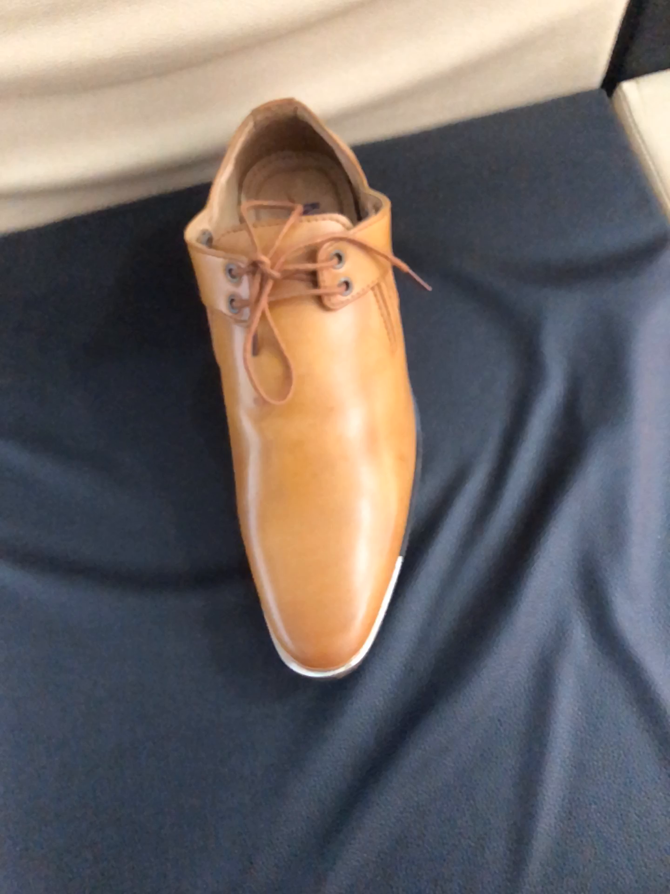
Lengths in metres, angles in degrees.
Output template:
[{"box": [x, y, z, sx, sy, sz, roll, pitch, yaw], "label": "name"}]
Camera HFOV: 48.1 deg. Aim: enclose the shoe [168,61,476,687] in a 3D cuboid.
[{"box": [-0.012, -0.036, 0.348, 0.110, 0.080, 0.270, -5, 71, 3], "label": "shoe"}]
